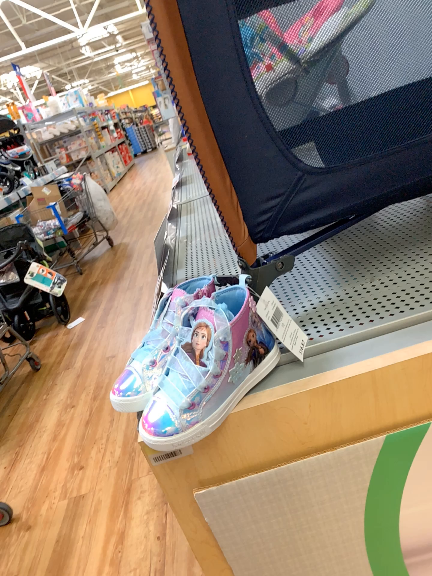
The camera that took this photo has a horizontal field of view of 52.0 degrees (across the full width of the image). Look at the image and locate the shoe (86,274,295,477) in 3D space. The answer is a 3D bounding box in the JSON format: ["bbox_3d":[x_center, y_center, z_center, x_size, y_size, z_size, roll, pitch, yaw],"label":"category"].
[{"bbox_3d":[-0.020,0.080,0.467,0.182,0.102,0.090,-32,31,-27],"label":"shoe"}]

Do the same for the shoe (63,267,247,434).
[{"bbox_3d":[-0.067,0.065,0.535,0.182,0.102,0.080,-32,25,-27],"label":"shoe"}]
